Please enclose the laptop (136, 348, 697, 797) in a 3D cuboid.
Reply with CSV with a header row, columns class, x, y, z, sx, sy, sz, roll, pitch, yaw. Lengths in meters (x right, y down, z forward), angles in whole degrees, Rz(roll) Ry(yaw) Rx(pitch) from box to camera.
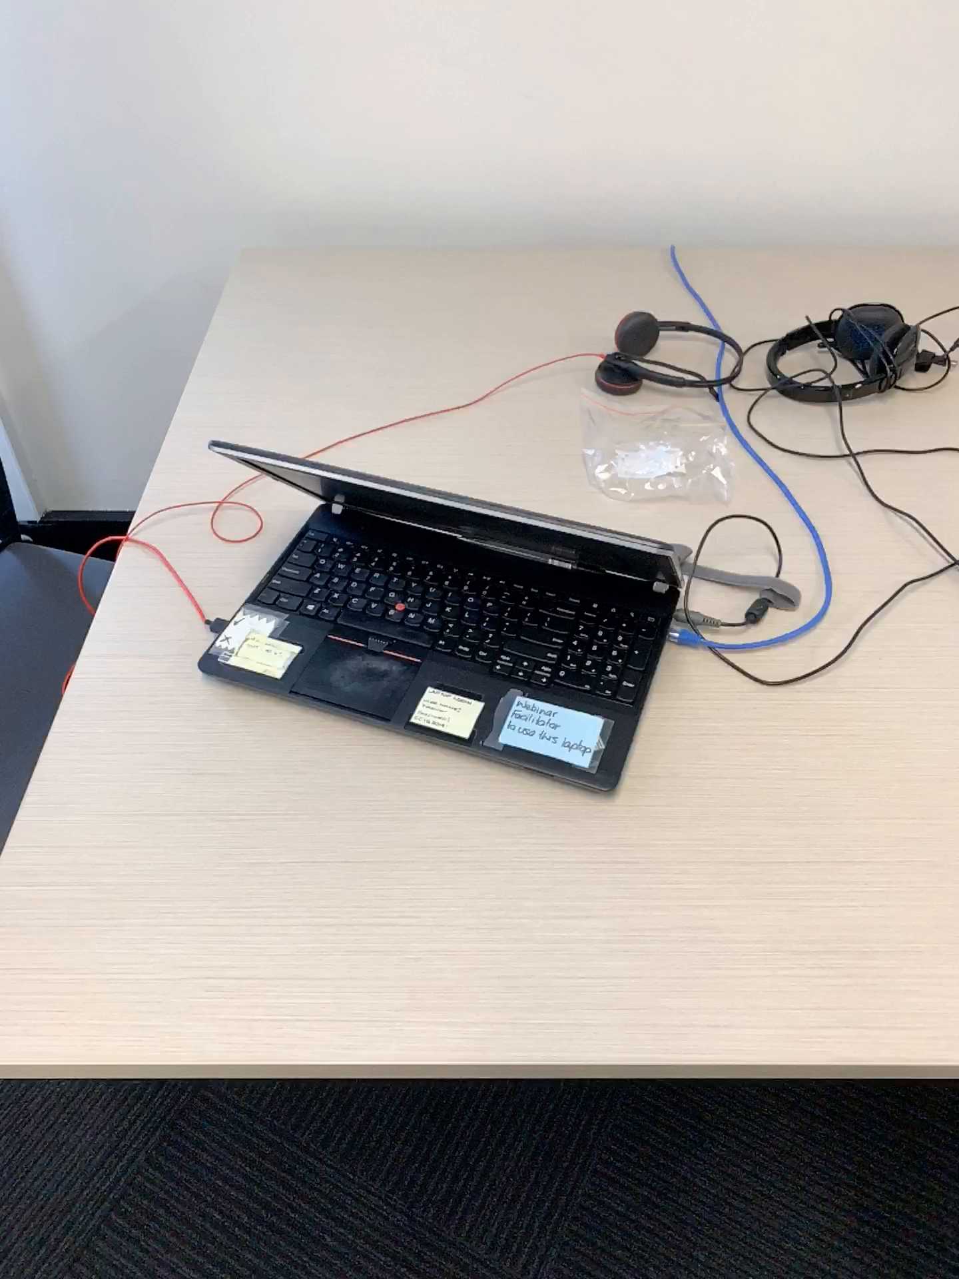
class,x,y,z,sx,sy,sz,roll,pitch,yaw
laptop,-0.031,-0.066,0.711,0.326,0.157,0.227,14,44,16
